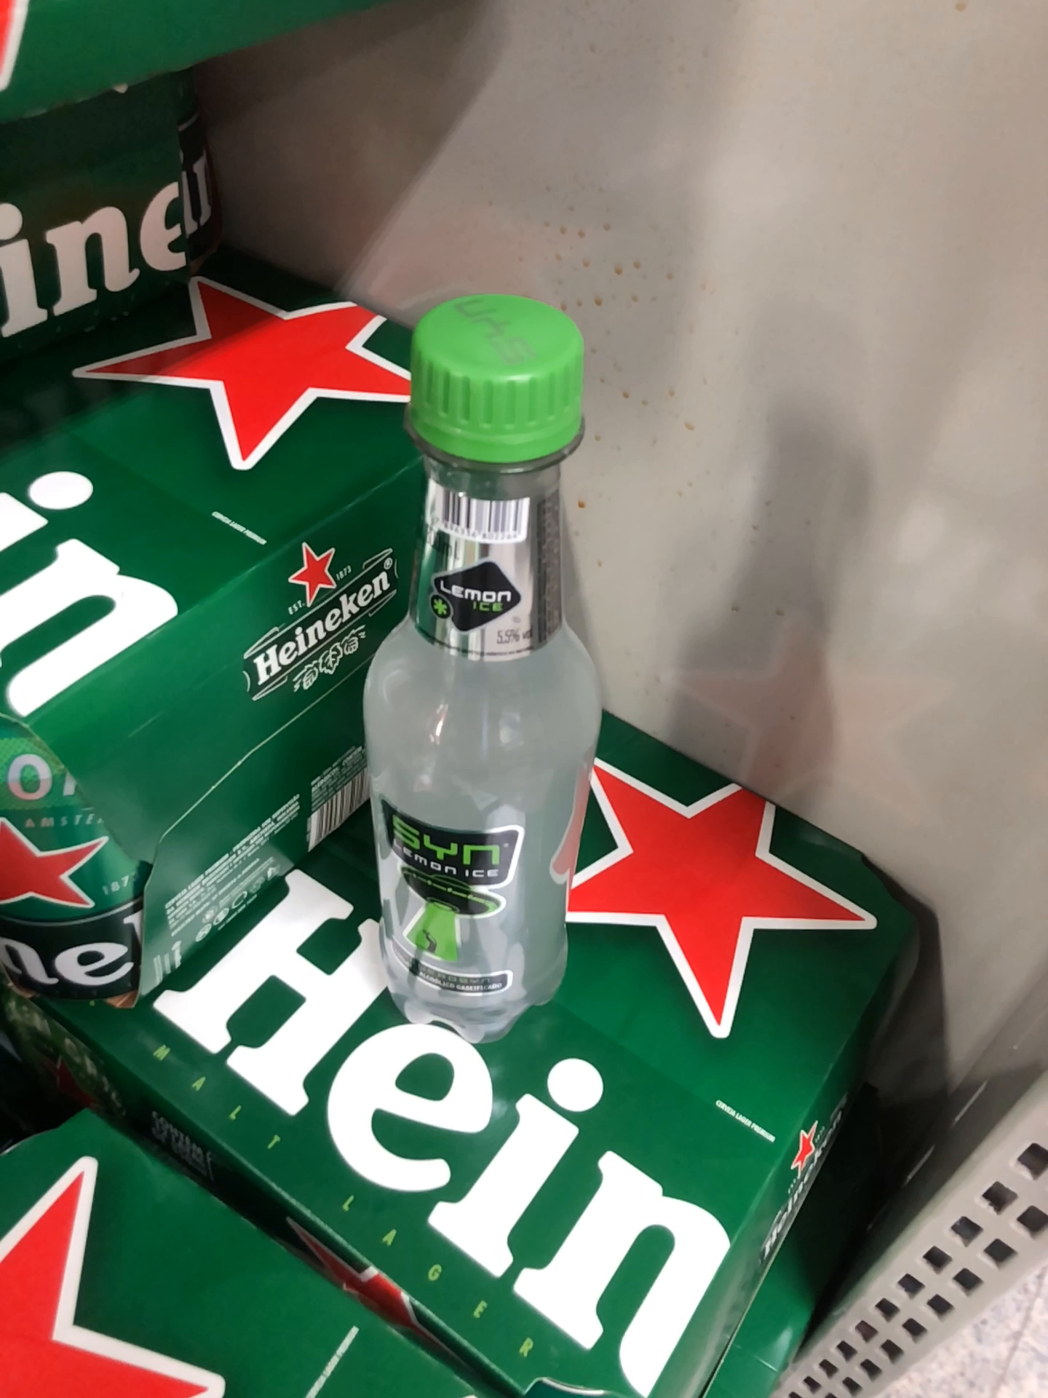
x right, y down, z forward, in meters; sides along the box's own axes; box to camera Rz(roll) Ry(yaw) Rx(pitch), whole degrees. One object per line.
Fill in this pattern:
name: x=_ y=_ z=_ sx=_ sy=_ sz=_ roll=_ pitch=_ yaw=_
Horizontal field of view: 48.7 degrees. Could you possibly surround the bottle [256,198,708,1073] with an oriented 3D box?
bottle: x=-0.011 y=0.004 z=0.272 sx=0.060 sy=0.209 sz=0.060 roll=3 pitch=47 yaw=-3
